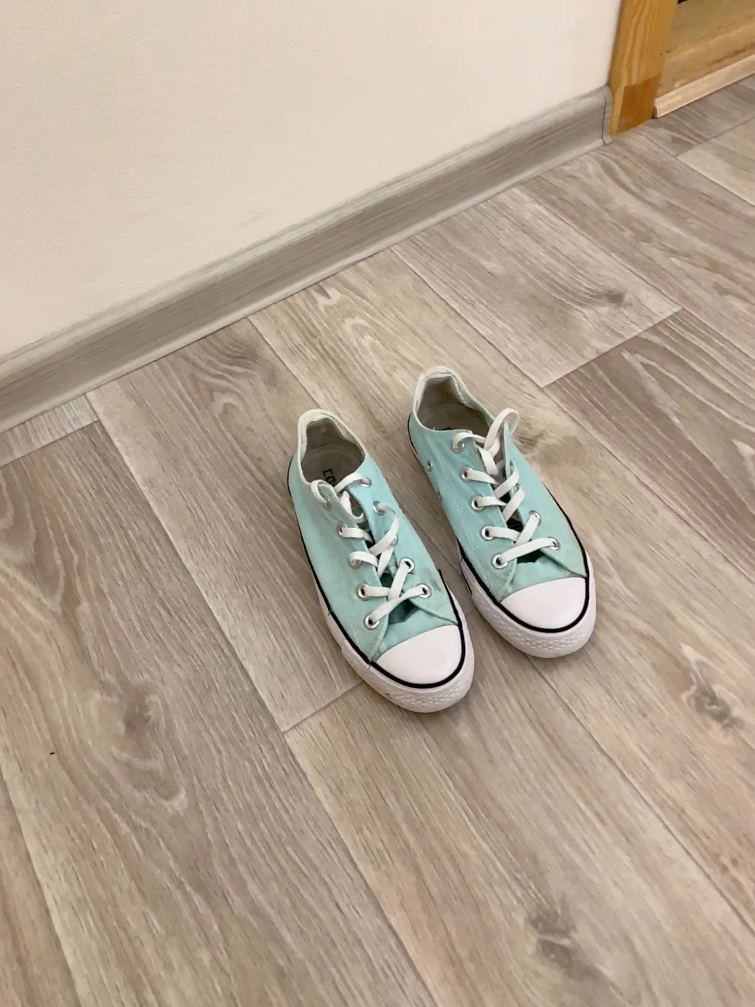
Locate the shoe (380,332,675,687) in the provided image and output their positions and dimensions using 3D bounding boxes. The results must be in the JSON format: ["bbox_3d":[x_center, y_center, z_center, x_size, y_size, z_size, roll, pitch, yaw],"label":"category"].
[{"bbox_3d":[0.093,-0.008,0.557,0.100,0.060,0.251,-19,55,-8],"label":"shoe"}]

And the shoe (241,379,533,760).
[{"bbox_3d":[-0.003,0.032,0.528,0.092,0.060,0.251,-23,56,-11],"label":"shoe"}]
